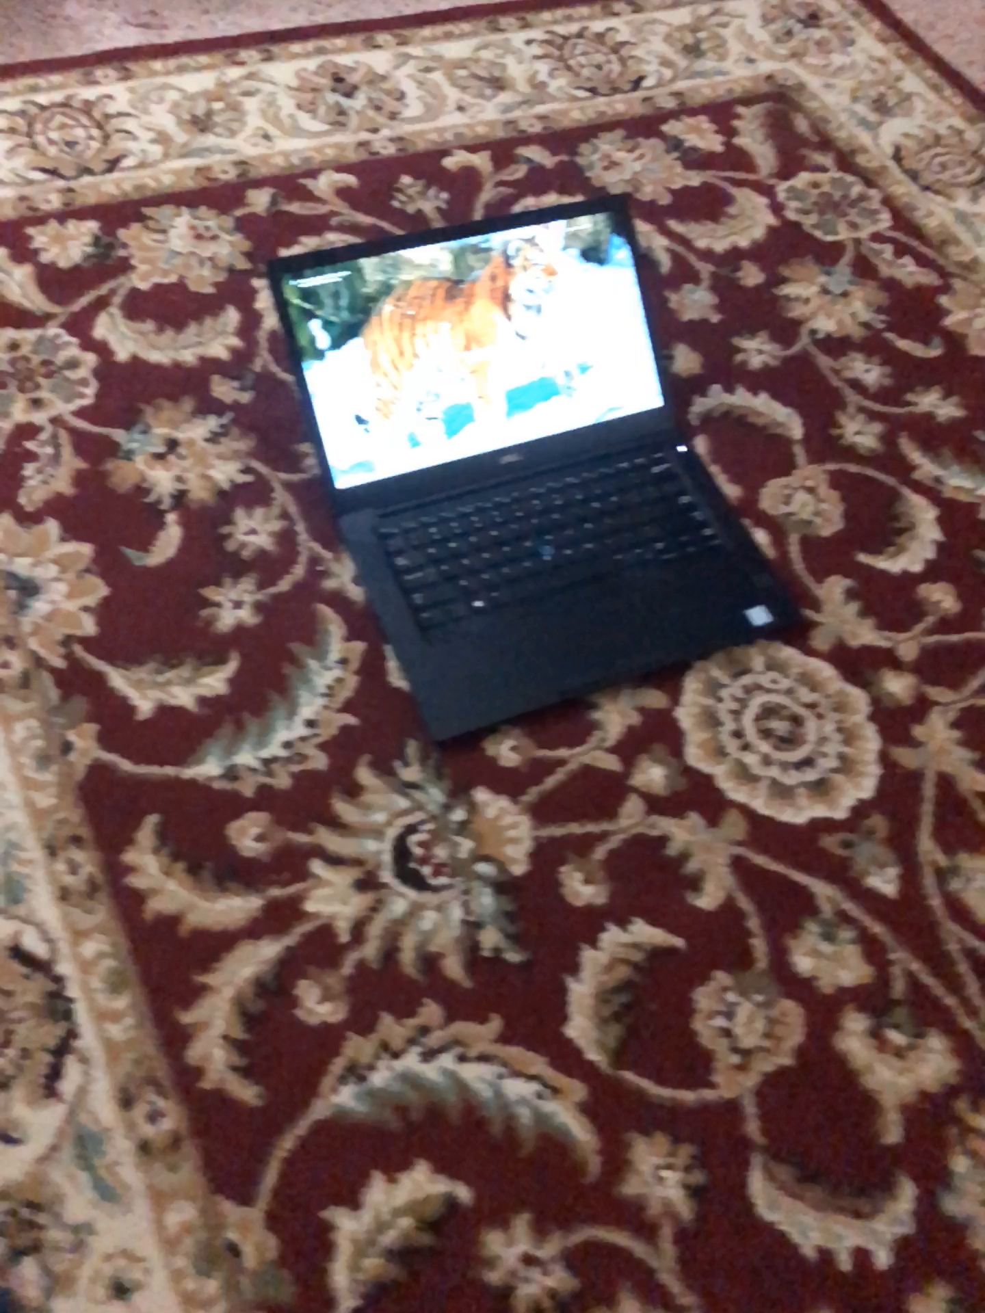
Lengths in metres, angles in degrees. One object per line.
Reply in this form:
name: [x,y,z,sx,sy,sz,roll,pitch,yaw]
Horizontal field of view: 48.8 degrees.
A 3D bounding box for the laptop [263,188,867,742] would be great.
laptop: [0.038,-0.174,0.871,0.328,0.124,0.384,-18,63,-17]
